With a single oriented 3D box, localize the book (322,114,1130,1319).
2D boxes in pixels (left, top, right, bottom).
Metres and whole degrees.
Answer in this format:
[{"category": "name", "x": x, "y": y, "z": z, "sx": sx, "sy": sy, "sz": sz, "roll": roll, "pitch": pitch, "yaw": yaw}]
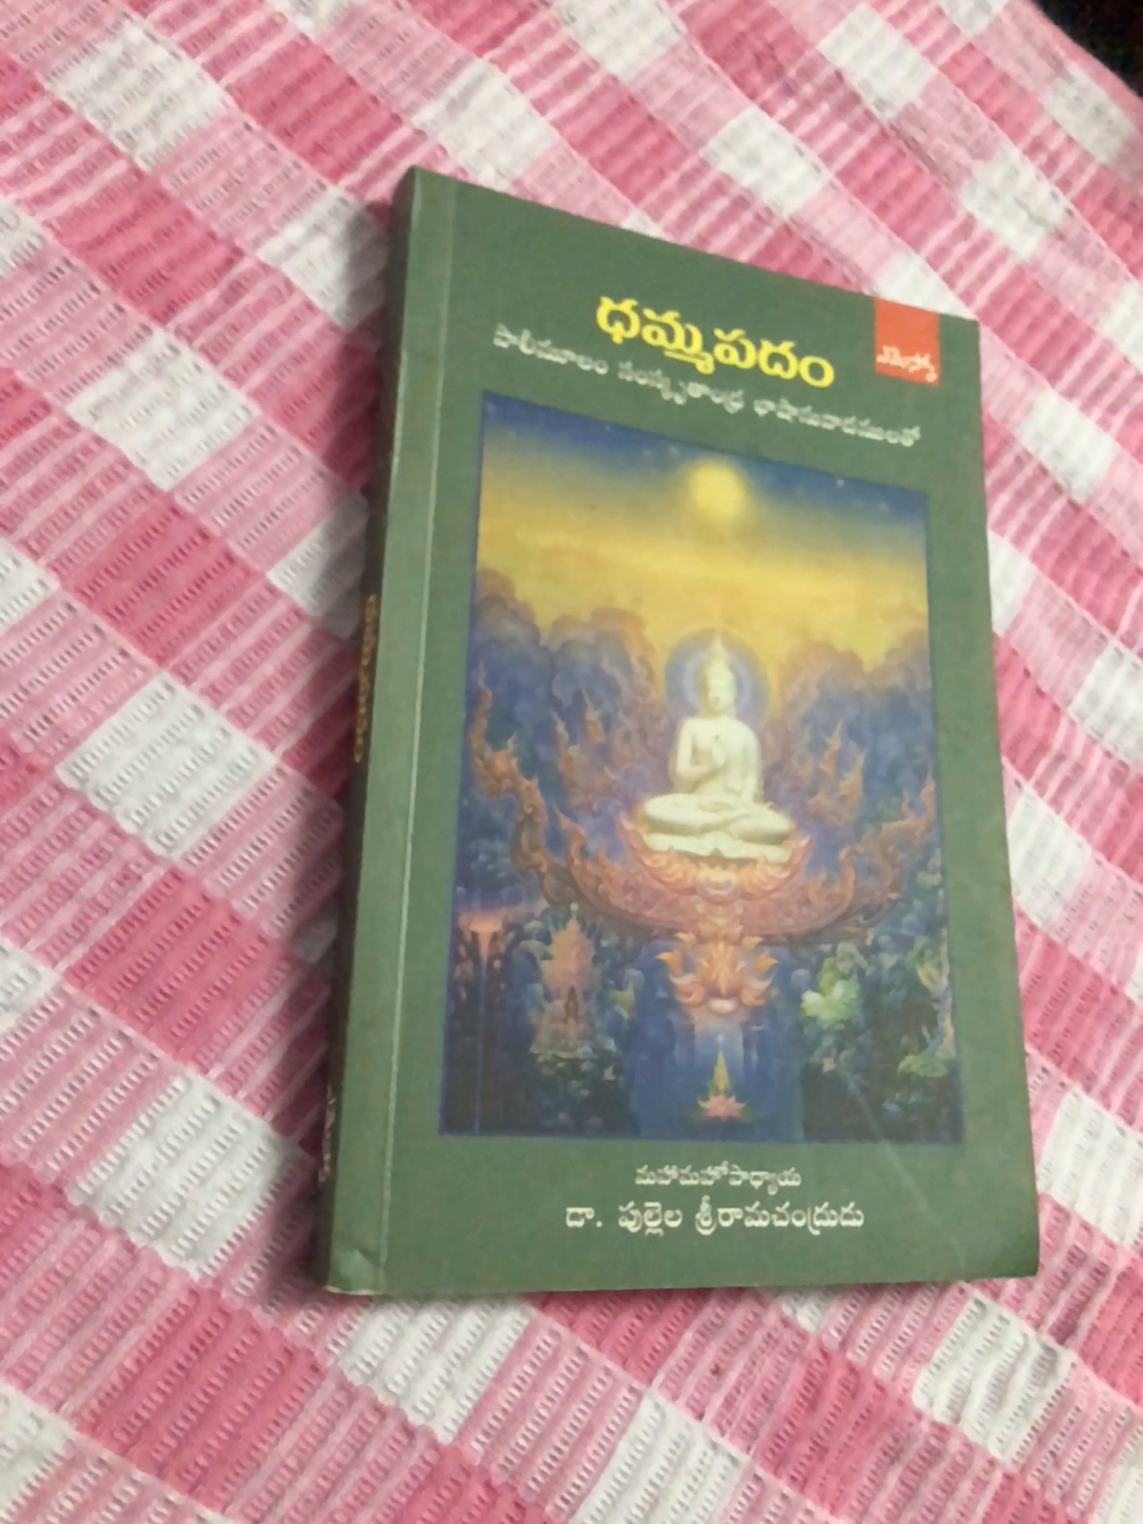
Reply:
[{"category": "book", "x": 0.032, "y": -0.010, "z": 0.237, "sx": 0.140, "sy": 0.020, "sz": 0.200, "roll": 7, "pitch": 73, "yaw": -22}]
